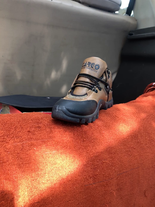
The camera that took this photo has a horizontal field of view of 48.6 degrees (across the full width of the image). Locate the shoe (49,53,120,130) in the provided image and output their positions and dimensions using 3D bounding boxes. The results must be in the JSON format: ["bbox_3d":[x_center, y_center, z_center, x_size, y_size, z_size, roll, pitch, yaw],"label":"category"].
[{"bbox_3d":[0.038,-0.053,0.486,0.110,0.149,0.271,10,15,19],"label":"shoe"}]
